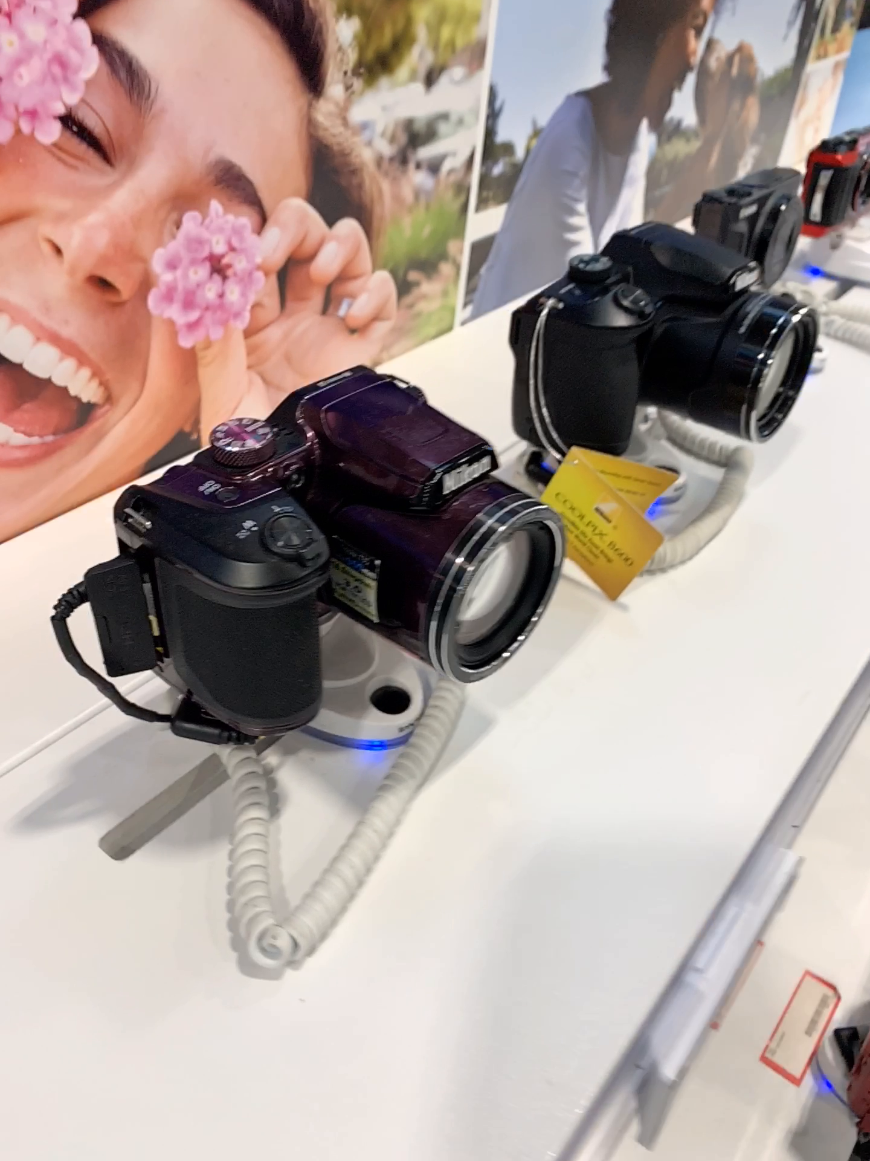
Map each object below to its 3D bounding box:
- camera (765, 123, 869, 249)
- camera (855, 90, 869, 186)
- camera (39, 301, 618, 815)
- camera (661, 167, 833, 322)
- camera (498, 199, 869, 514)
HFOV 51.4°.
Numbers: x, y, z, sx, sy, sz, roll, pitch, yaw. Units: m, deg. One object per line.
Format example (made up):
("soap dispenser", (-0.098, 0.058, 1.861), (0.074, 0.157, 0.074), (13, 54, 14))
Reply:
("camera", (0.313, -0.308, 0.700), (0.050, 0.060, 0.130), (27, 44, 30))
("camera", (0.449, -0.418, 0.852), (0.050, 0.060, 0.110), (27, 44, 30))
("camera", (-0.028, -0.020, 0.290), (0.110, 0.080, 0.130), (27, 44, 30))
("camera", (0.201, -0.218, 0.580), (0.050, 0.060, 0.120), (27, 44, 30))
("camera", (0.111, -0.108, 0.409), (0.110, 0.080, 0.120), (27, 44, 30))
